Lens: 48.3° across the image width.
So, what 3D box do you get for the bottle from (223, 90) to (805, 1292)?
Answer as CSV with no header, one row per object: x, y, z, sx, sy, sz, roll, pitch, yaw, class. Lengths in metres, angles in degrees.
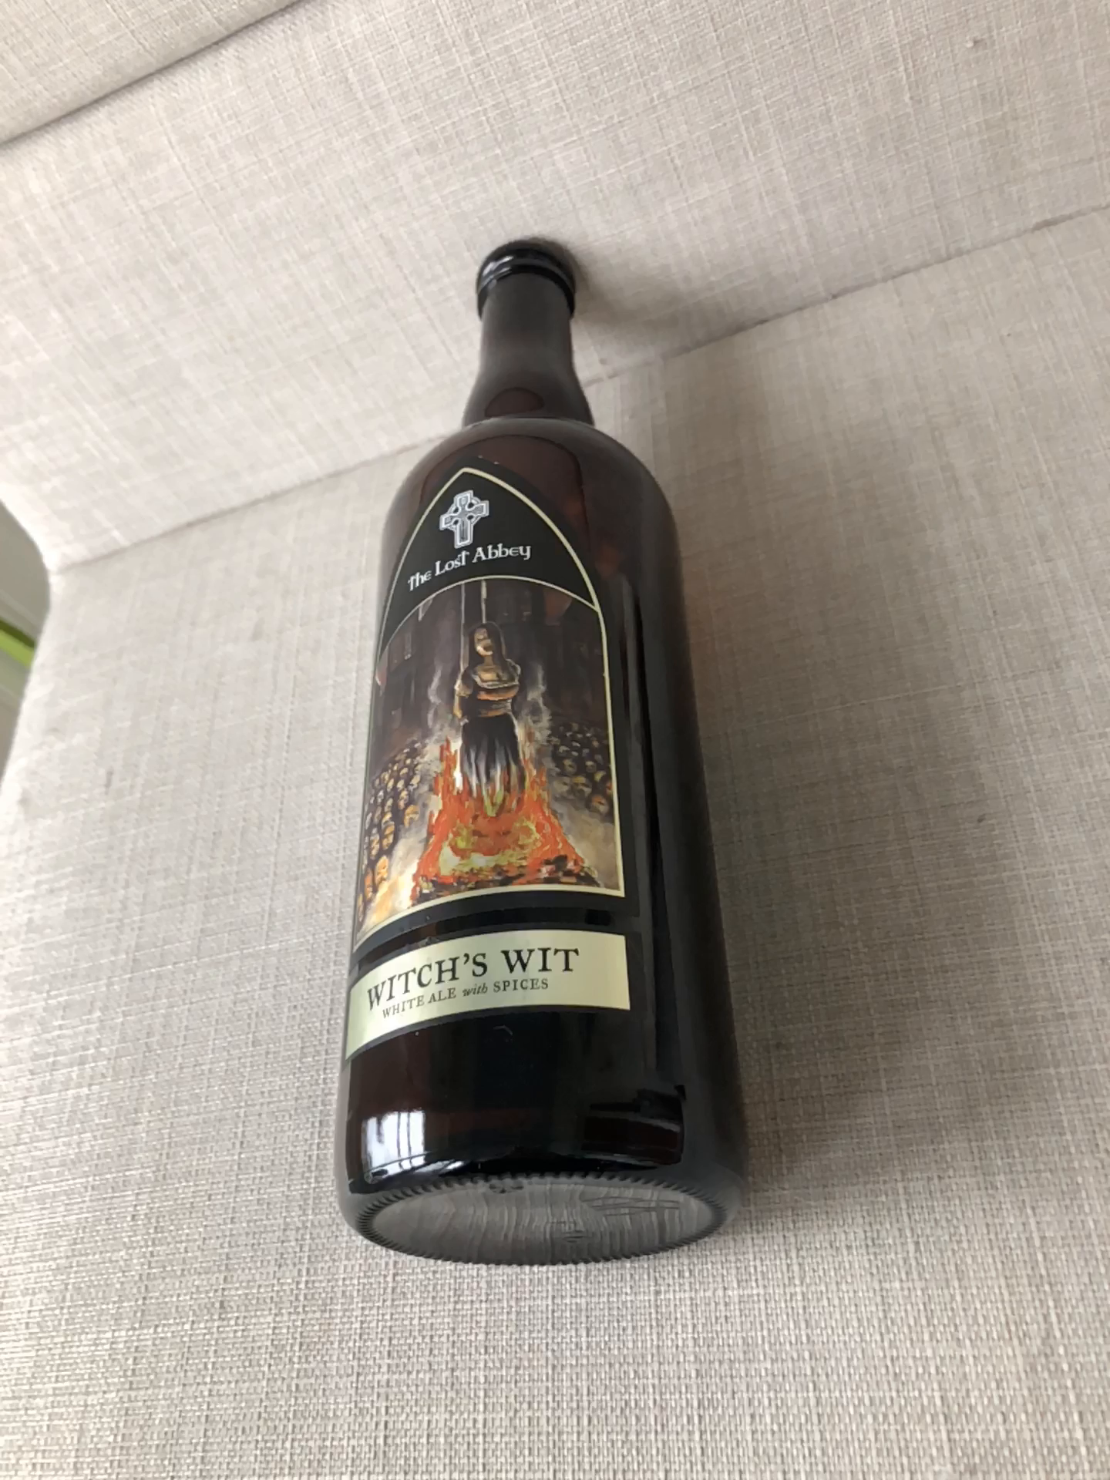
-0.009,-0.028,0.300,0.080,0.079,0.282,-14,56,17,bottle
